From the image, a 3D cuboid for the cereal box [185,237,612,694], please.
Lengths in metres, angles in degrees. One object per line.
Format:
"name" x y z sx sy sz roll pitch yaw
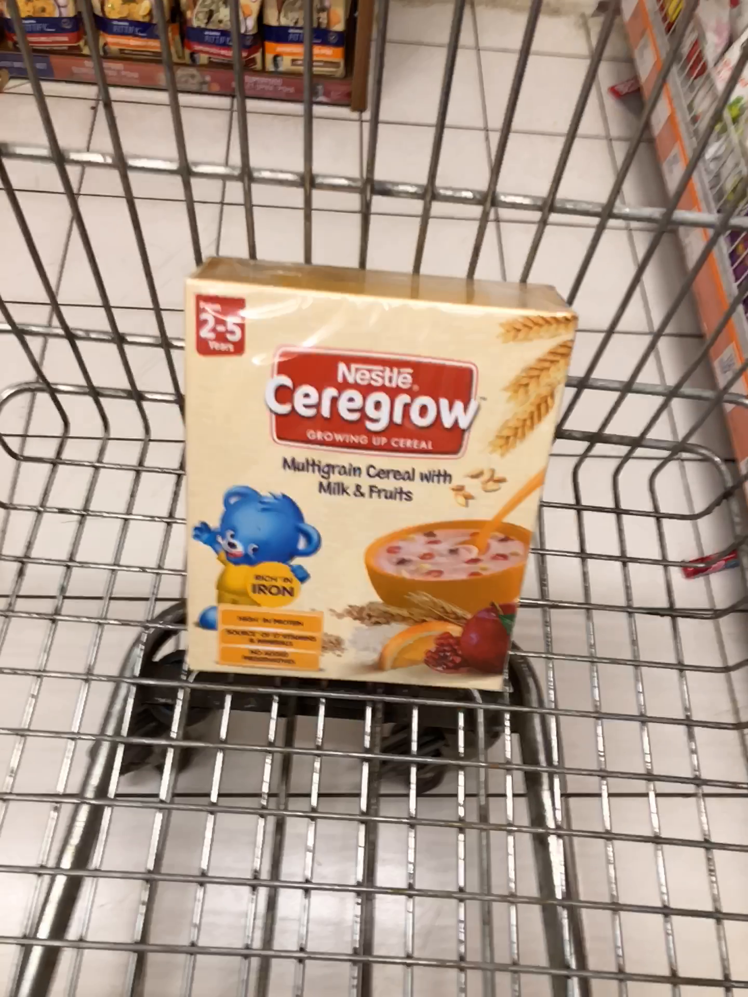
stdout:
"cereal box" 0.001 -0.008 0.371 0.160 0.189 0.050 5 27 -3
